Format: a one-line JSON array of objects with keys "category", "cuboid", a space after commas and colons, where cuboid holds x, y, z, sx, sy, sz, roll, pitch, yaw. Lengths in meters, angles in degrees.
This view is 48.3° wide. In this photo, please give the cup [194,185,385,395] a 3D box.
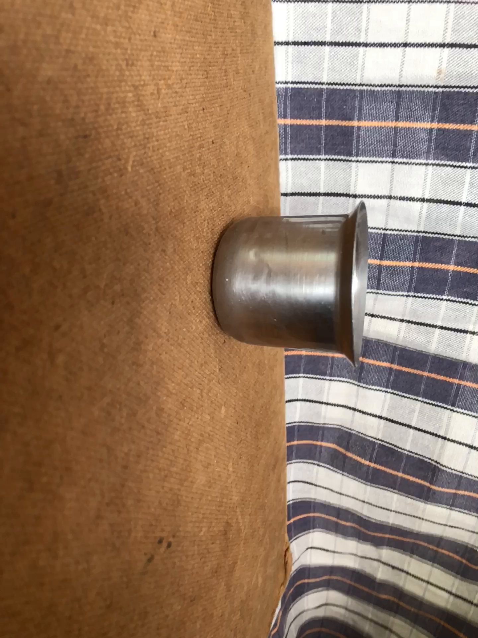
[{"category": "cup", "cuboid": [0.026, -0.009, 0.218, 0.070, 0.060, 0.070, 4, 90, -73]}]
